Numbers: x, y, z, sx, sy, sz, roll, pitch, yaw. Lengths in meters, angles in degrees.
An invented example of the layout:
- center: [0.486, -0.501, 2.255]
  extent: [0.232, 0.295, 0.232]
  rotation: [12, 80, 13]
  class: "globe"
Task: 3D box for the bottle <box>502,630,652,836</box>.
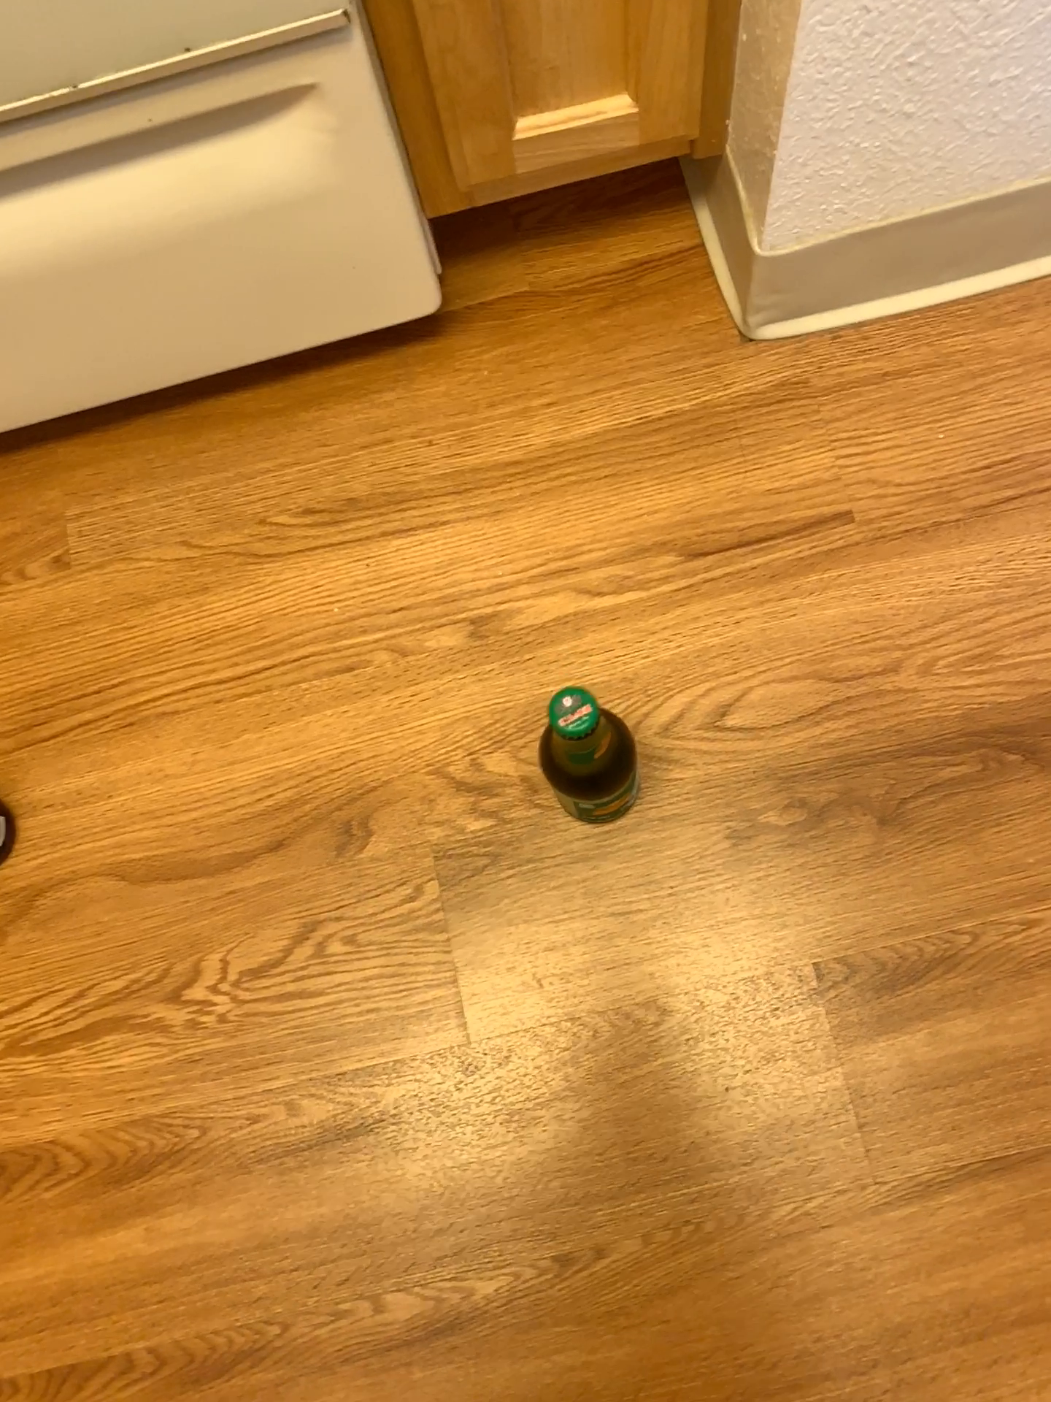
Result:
- center: [0.039, 0.030, 0.657]
  extent: [0.050, 0.230, 0.060]
  rotation: [-40, 75, -4]
  class: "bottle"
